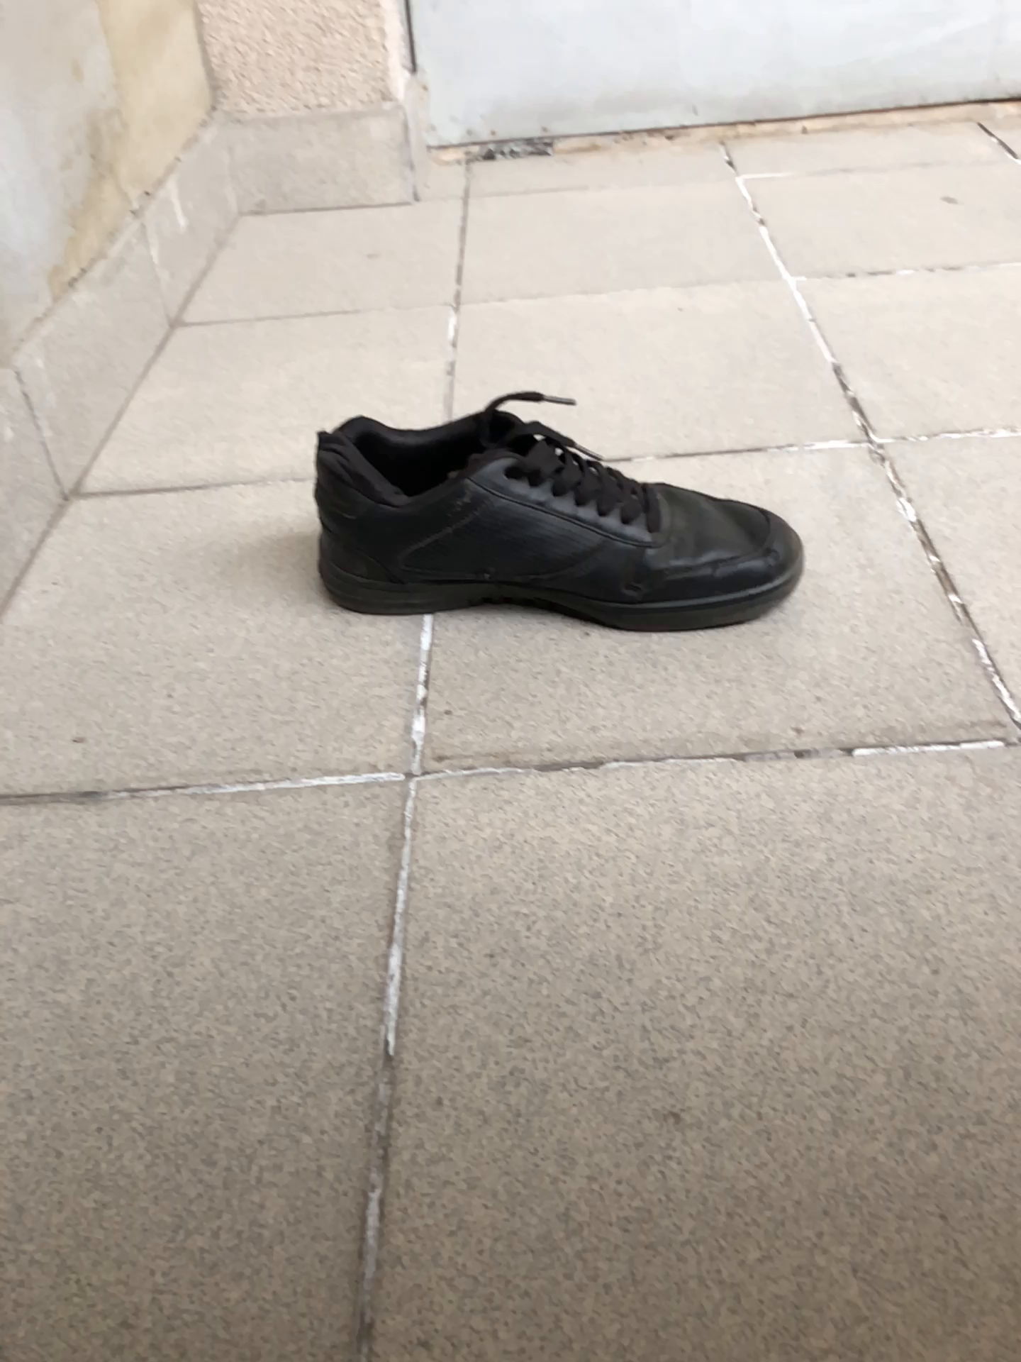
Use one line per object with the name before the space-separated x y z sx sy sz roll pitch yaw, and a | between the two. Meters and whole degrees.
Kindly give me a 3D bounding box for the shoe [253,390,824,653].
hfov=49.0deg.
shoe | 0.020 -0.094 0.636 0.290 0.099 0.111 2 39 10
